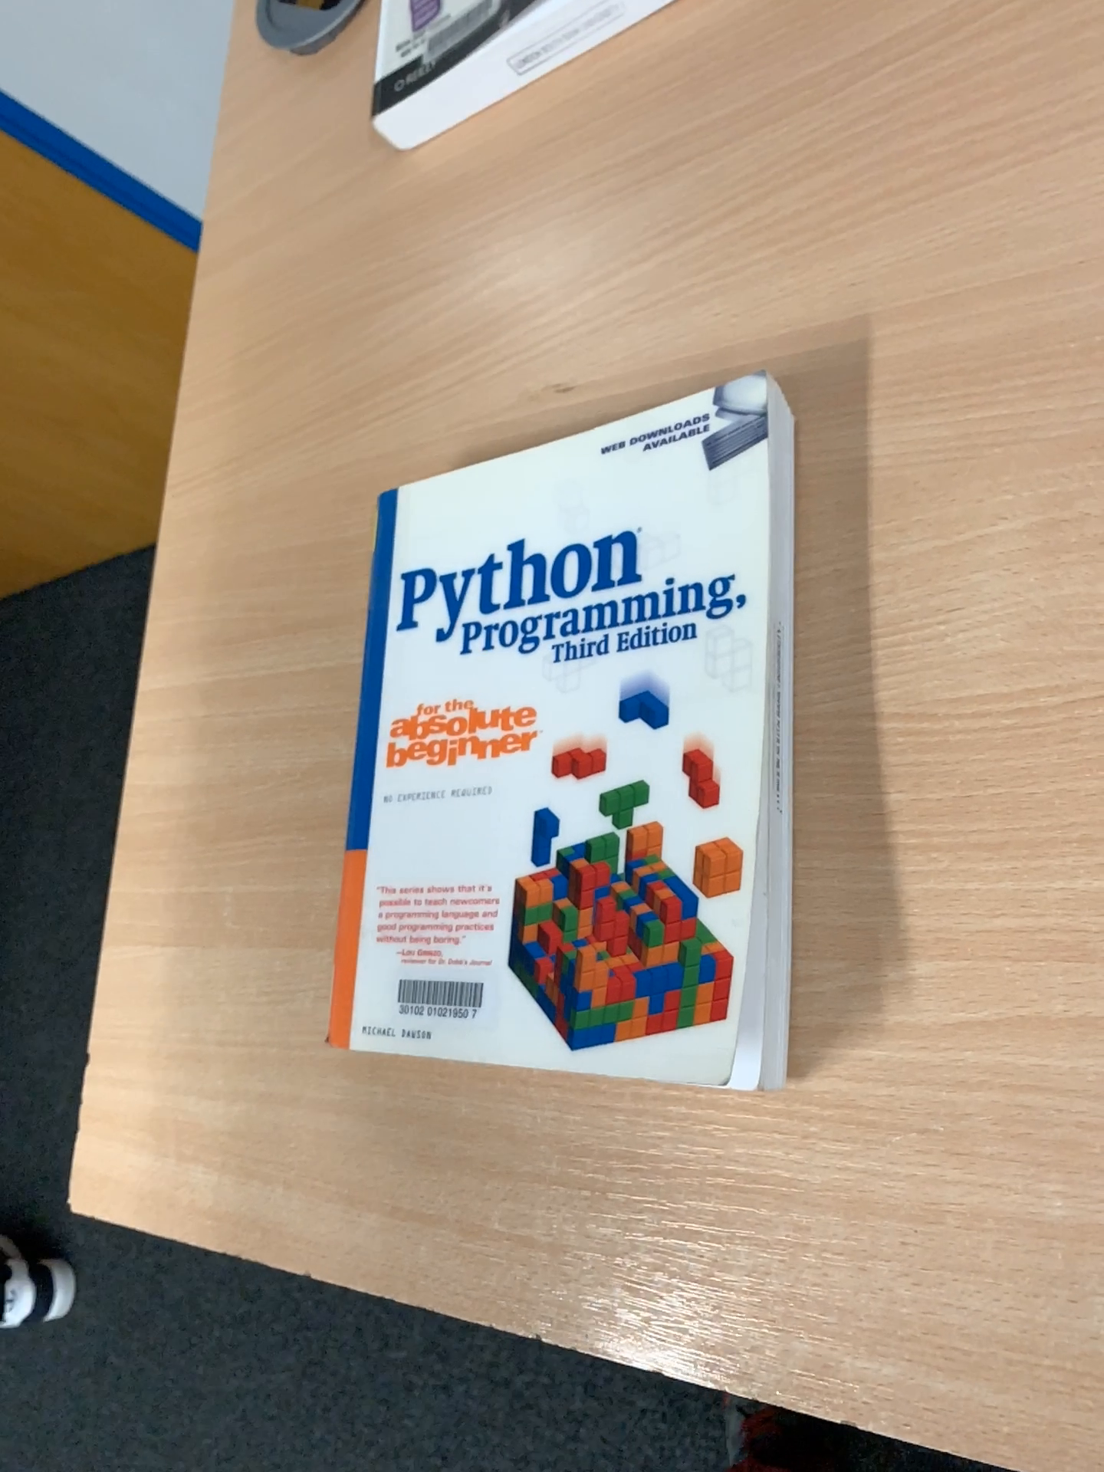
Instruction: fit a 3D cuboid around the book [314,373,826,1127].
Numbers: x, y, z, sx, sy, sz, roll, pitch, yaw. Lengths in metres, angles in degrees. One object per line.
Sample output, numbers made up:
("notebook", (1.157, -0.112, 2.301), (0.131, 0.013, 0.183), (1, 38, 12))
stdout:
("book", (0.003, 0.008, 0.390), (0.175, 0.039, 0.219), (-7, 73, 37))
